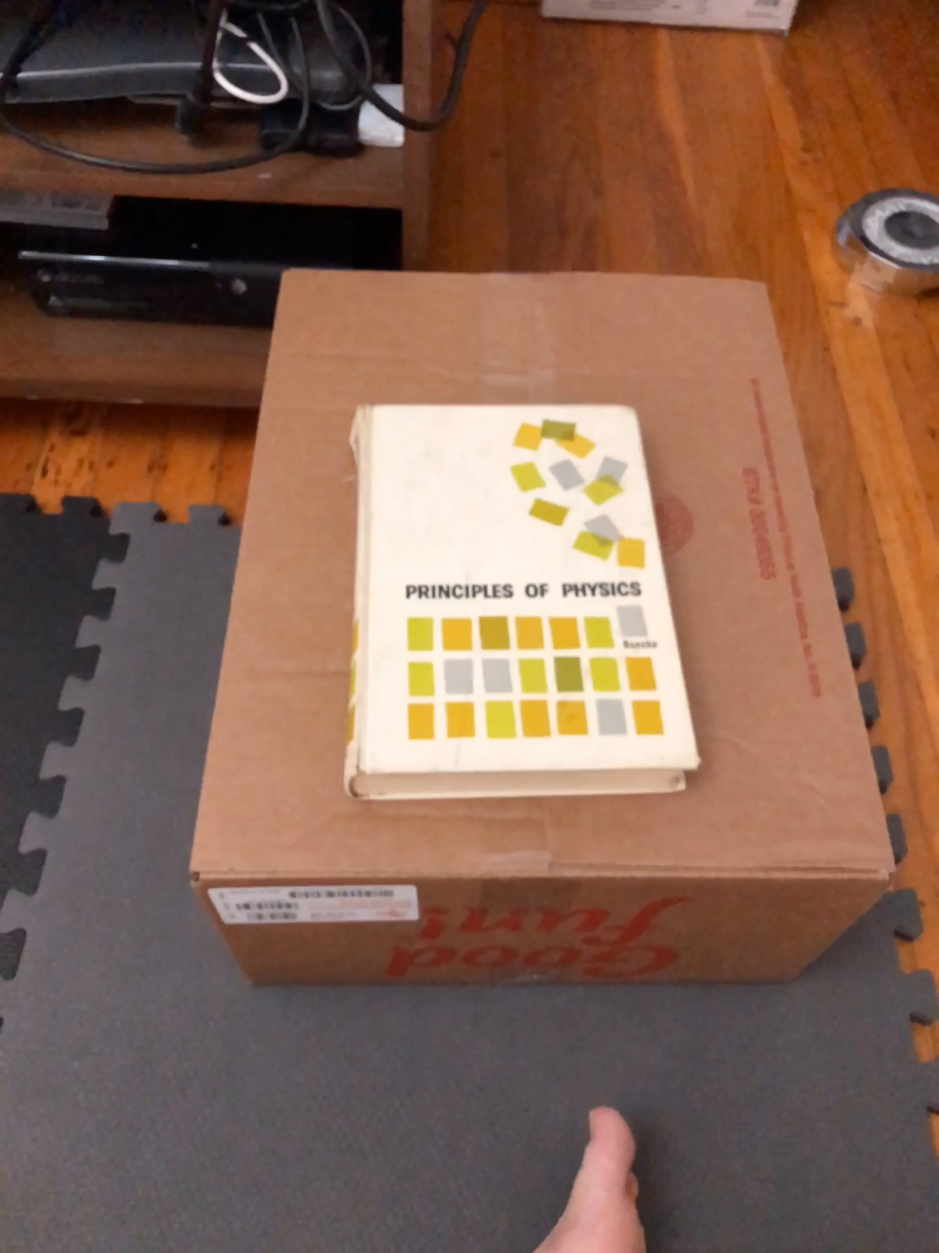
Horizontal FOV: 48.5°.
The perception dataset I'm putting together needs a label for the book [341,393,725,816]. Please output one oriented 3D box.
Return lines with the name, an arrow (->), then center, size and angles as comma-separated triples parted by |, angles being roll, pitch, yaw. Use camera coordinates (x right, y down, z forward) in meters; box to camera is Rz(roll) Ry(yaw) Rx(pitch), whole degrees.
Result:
book -> 0.026, -0.023, 0.572 | 0.180, 0.040, 0.251 | 0, 57, -2
